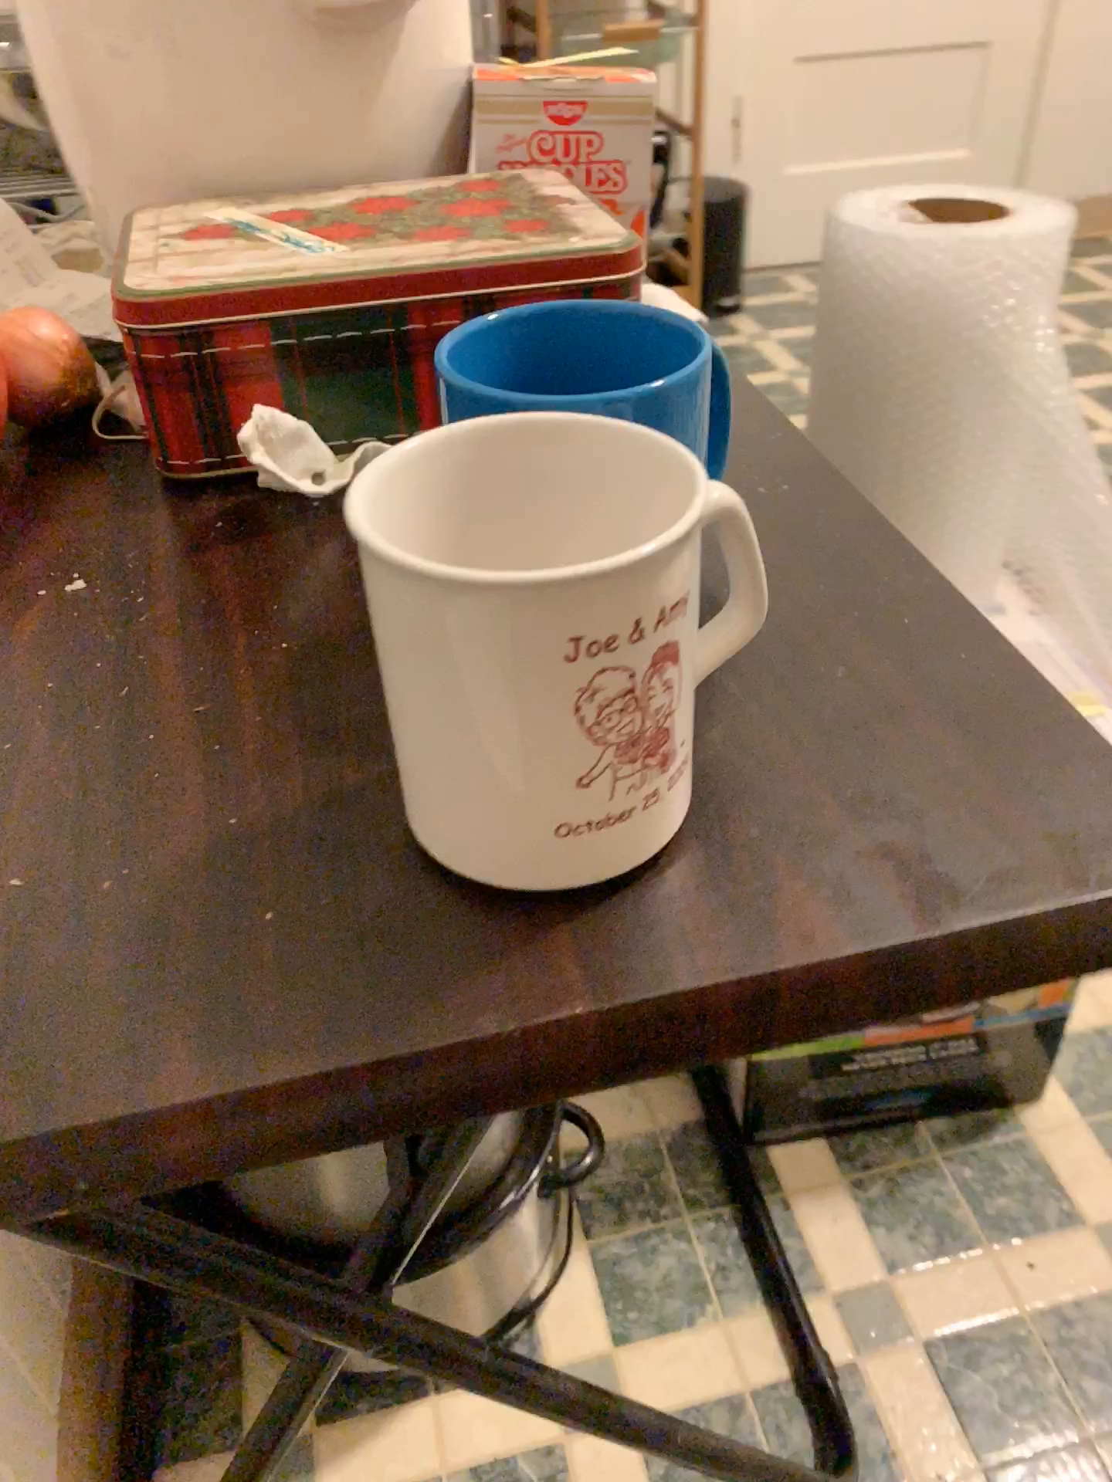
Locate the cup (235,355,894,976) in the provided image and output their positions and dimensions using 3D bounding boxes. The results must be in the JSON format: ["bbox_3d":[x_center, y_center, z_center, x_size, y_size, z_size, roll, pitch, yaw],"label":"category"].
[{"bbox_3d":[0.002,-0.026,0.287,0.120,0.089,0.090,-23,42,-23],"label":"cup"}]

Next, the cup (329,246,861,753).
[{"bbox_3d":[0.017,-0.087,0.377,0.090,0.099,0.140,29,49,35],"label":"cup"}]
